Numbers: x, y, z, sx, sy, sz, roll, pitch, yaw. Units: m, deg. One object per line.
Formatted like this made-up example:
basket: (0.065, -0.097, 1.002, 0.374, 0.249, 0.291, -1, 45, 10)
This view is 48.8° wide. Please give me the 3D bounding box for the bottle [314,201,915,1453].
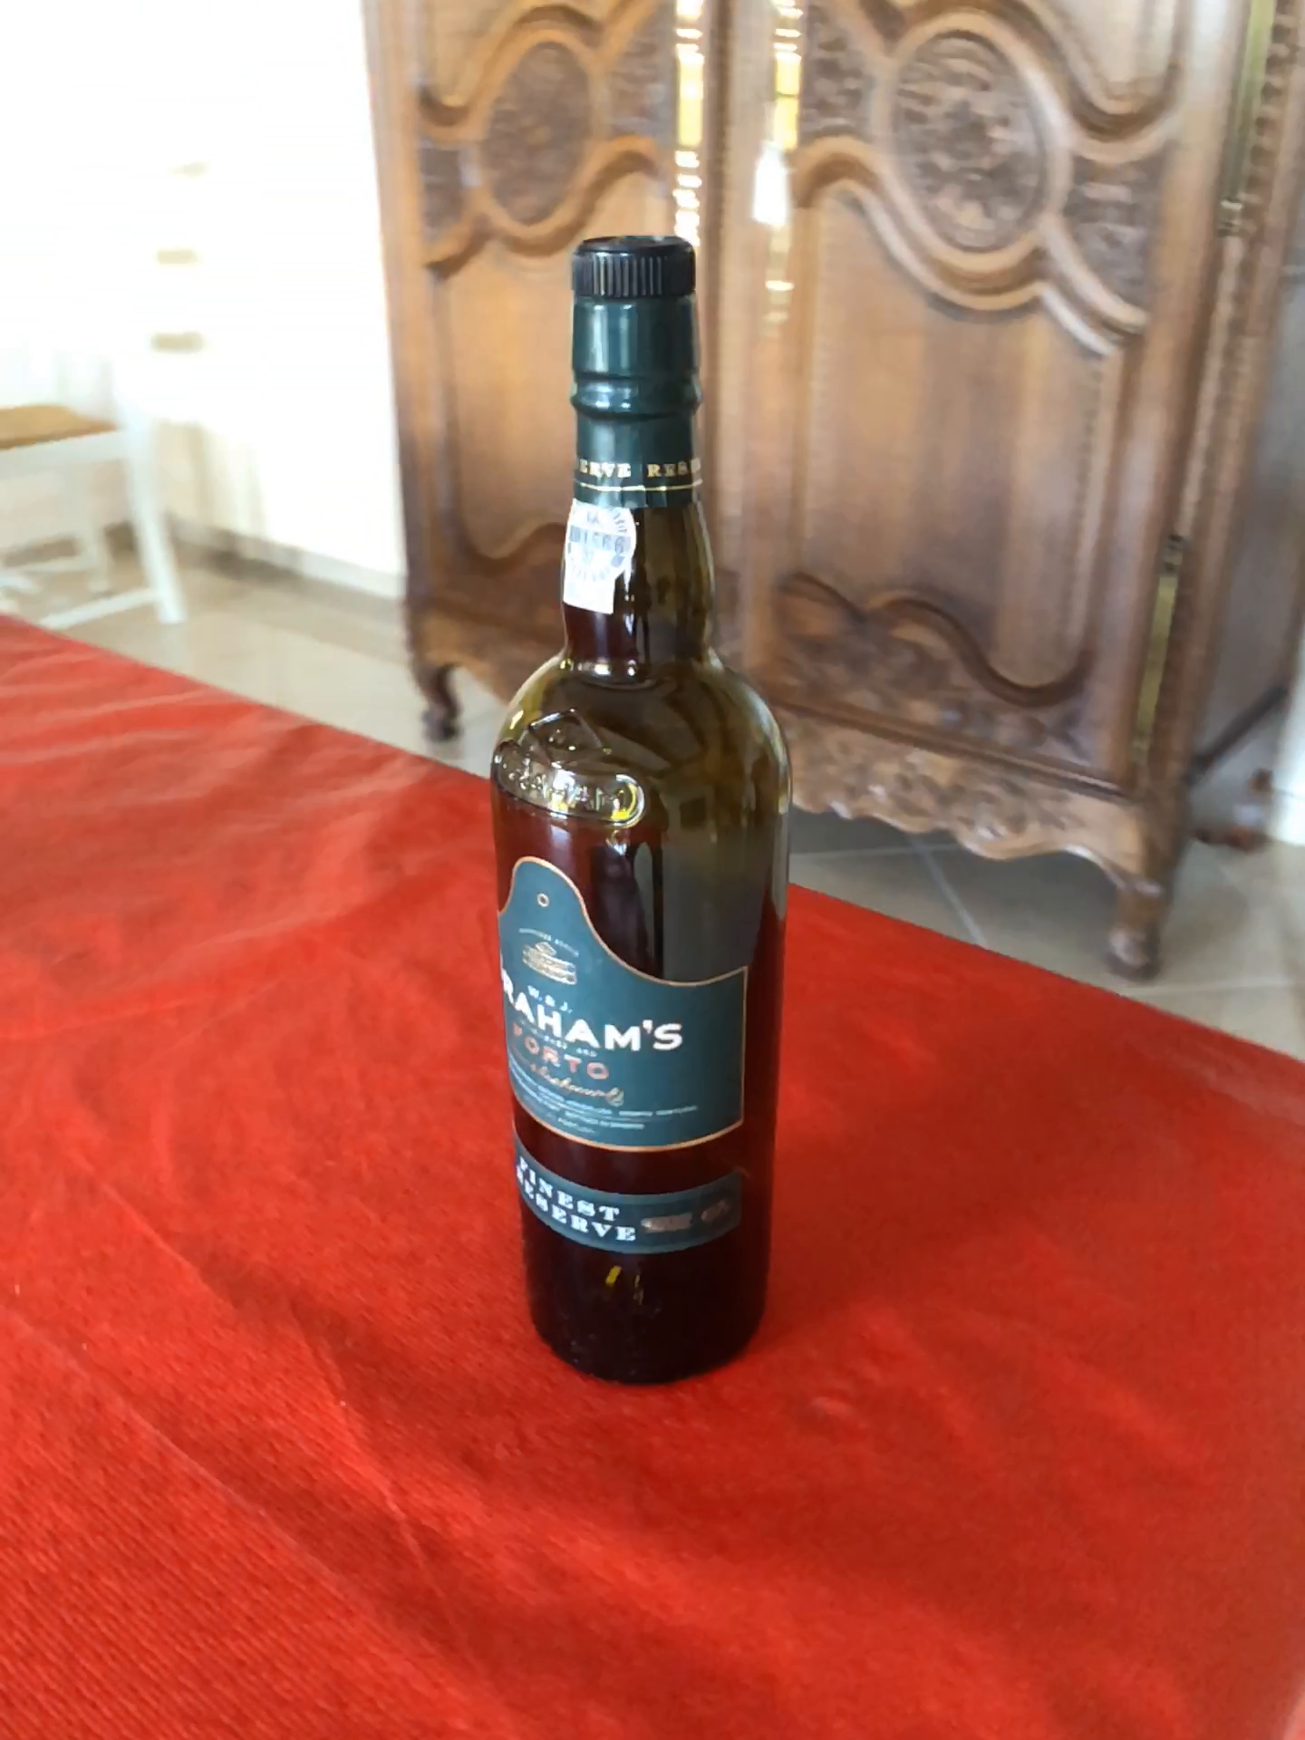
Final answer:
bottle: (-0.006, -0.005, 0.373, 0.090, 0.298, 0.091, 0, 28, 0)
